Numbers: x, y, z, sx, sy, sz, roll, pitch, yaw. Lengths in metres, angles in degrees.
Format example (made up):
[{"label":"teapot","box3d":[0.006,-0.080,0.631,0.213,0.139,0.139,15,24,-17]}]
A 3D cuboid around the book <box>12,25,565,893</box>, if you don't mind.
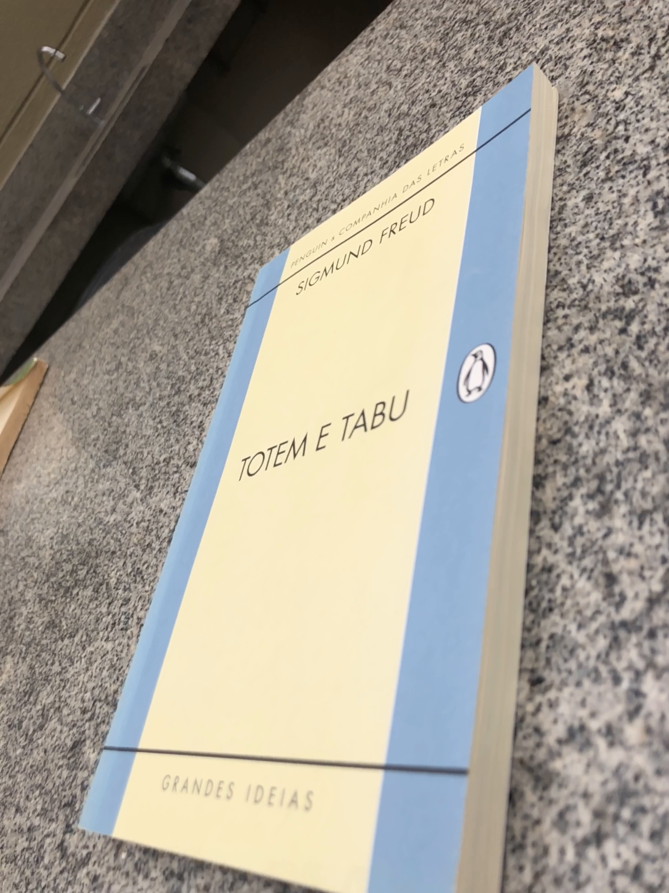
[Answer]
[{"label":"book","box3d":[-0.010,-0.001,0.184,0.131,0.015,0.191,-21,46,45]}]
